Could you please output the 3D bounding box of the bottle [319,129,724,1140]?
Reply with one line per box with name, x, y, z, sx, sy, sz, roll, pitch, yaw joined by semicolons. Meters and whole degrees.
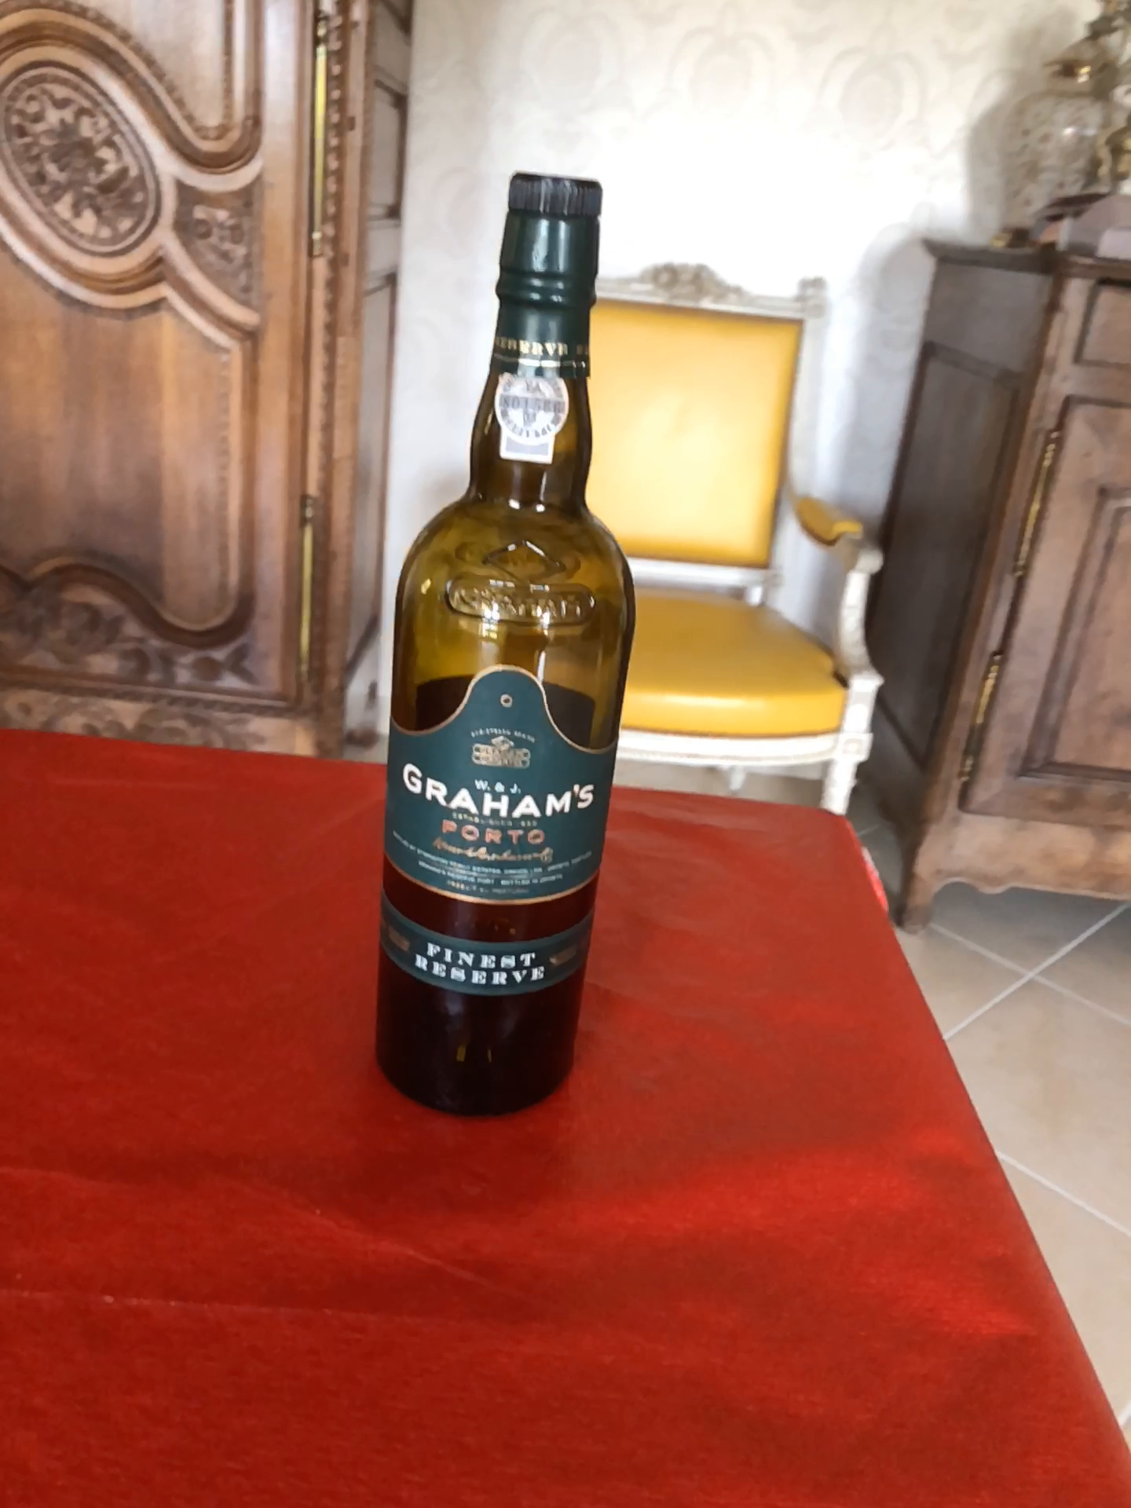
bottle;-0.021;-0.029;0.404;0.090;0.298;0.090;6;23;-2
